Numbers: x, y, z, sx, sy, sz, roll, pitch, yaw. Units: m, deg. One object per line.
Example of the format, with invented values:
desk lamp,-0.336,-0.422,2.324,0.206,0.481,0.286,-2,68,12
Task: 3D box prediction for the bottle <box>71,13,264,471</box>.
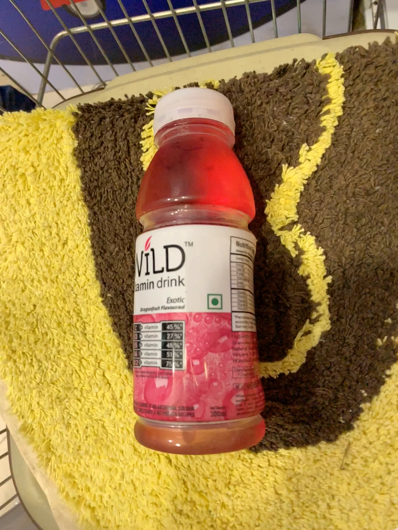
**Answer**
bottle,-0.013,-0.010,0.185,0.060,0.050,0.170,-10,75,38
